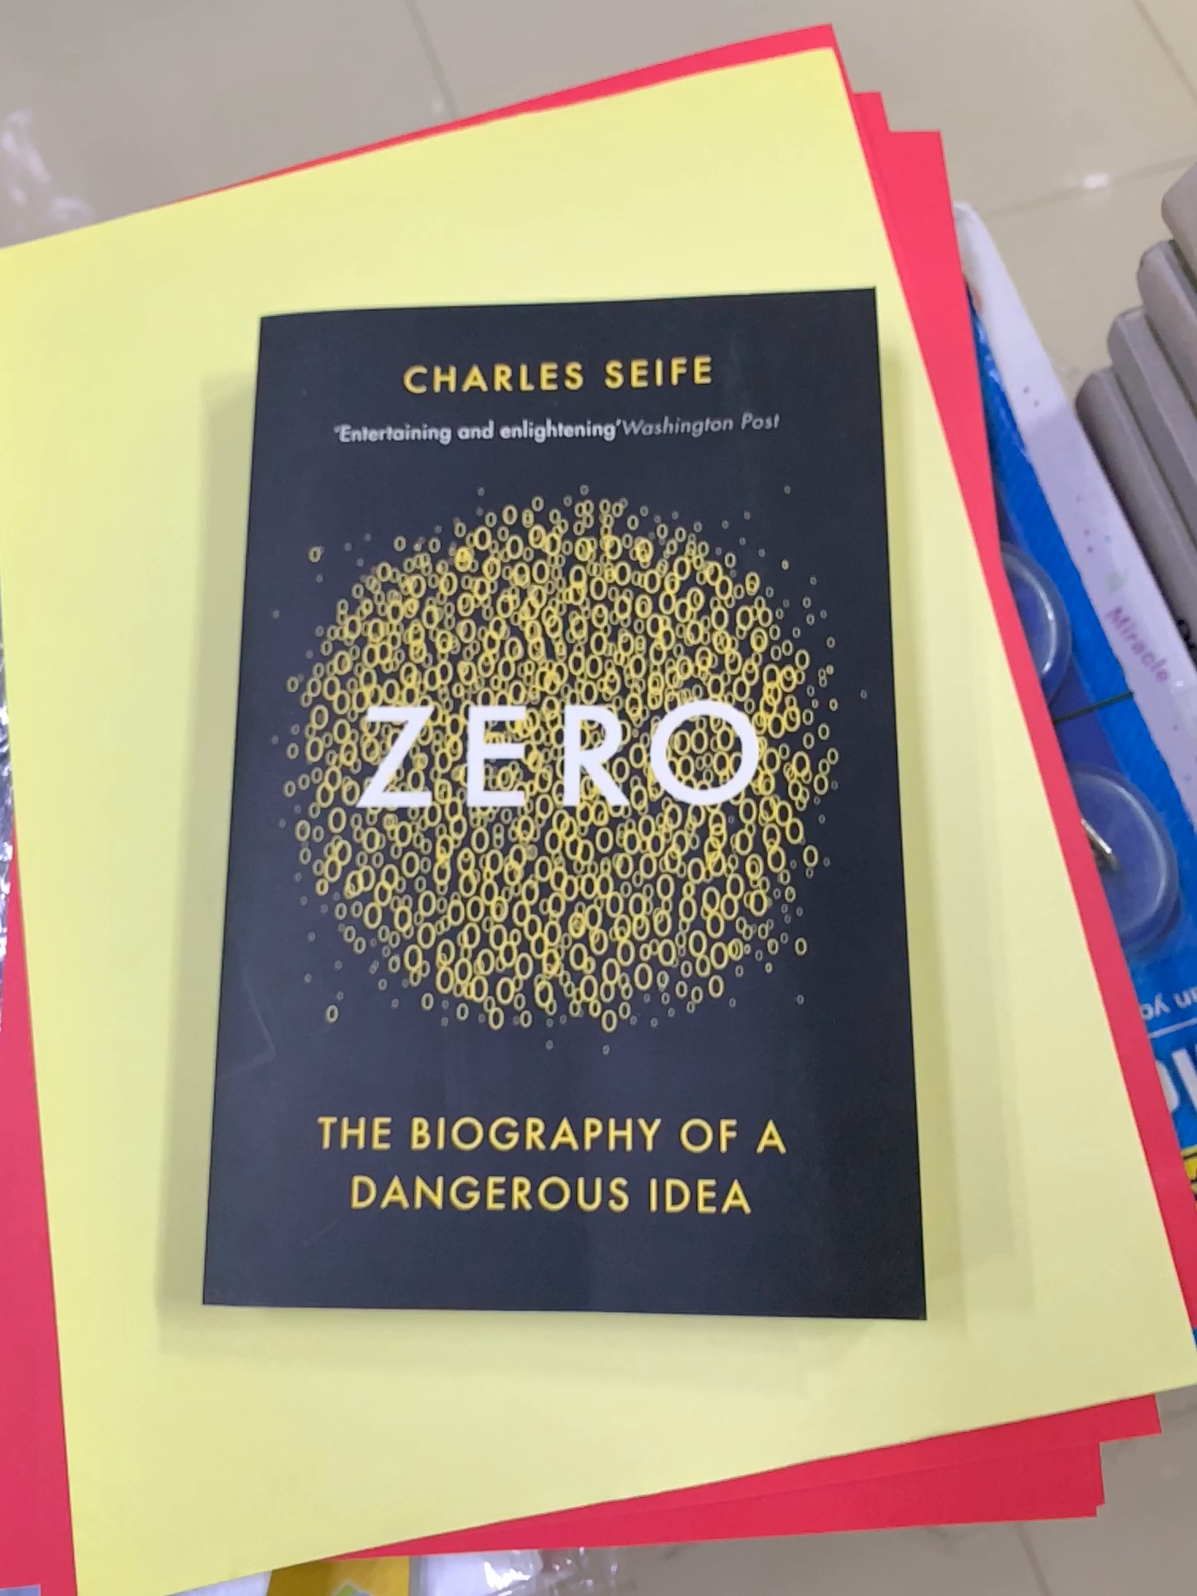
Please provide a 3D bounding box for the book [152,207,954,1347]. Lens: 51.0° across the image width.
[{"bbox_3d":[-0.007,-0.008,0.240,0.130,0.040,0.200,0,80,4],"label":"book"}]
